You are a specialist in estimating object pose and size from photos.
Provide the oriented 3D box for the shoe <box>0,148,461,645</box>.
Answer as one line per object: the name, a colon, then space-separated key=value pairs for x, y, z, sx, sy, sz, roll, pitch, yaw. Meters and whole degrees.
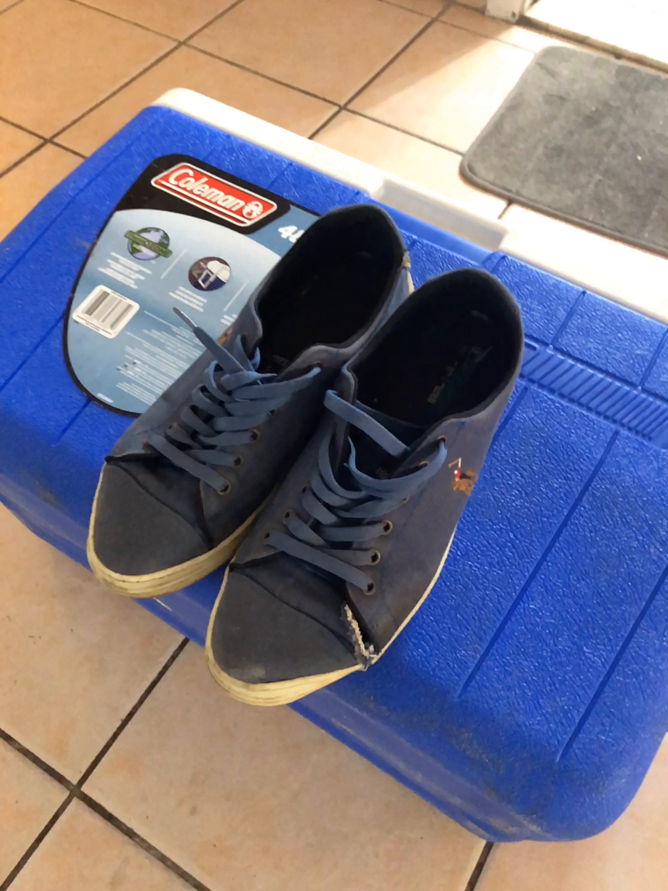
shoe: x=-0.051 y=-0.036 z=0.426 sx=0.107 sy=0.090 sz=0.271 roll=34 pitch=70 yaw=19

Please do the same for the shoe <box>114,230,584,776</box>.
shoe: x=0.022 y=0.018 z=0.401 sx=0.107 sy=0.089 sz=0.271 roll=28 pitch=63 yaw=16
